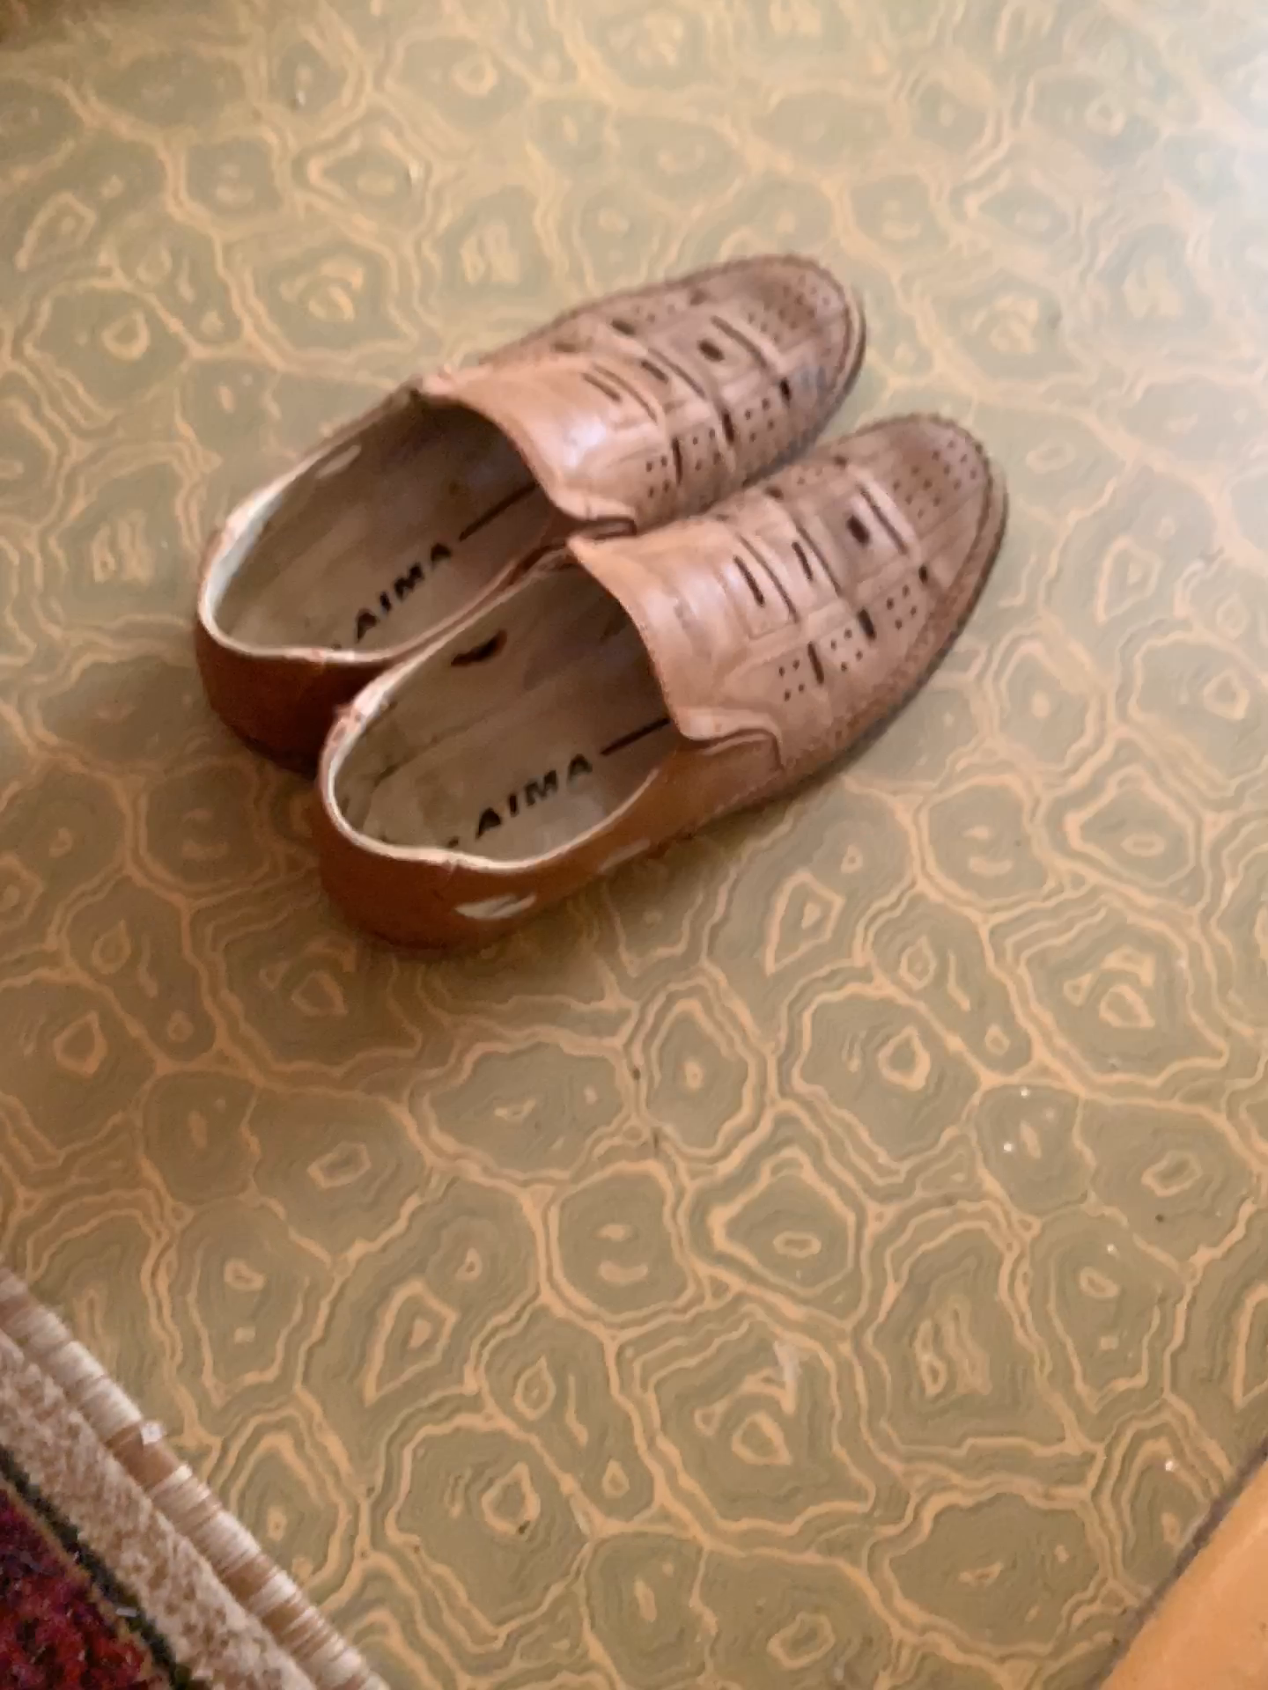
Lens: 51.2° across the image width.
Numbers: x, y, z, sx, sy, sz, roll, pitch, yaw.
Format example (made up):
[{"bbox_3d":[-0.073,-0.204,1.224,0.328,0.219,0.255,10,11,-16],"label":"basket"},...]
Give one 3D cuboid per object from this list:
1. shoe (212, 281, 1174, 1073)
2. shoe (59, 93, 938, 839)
[{"bbox_3d":[0.023,-0.058,0.447,0.290,0.080,0.110,-34,78,-12],"label":"shoe"},{"bbox_3d":[-0.040,-0.138,0.477,0.290,0.080,0.100,-38,79,-13],"label":"shoe"}]
